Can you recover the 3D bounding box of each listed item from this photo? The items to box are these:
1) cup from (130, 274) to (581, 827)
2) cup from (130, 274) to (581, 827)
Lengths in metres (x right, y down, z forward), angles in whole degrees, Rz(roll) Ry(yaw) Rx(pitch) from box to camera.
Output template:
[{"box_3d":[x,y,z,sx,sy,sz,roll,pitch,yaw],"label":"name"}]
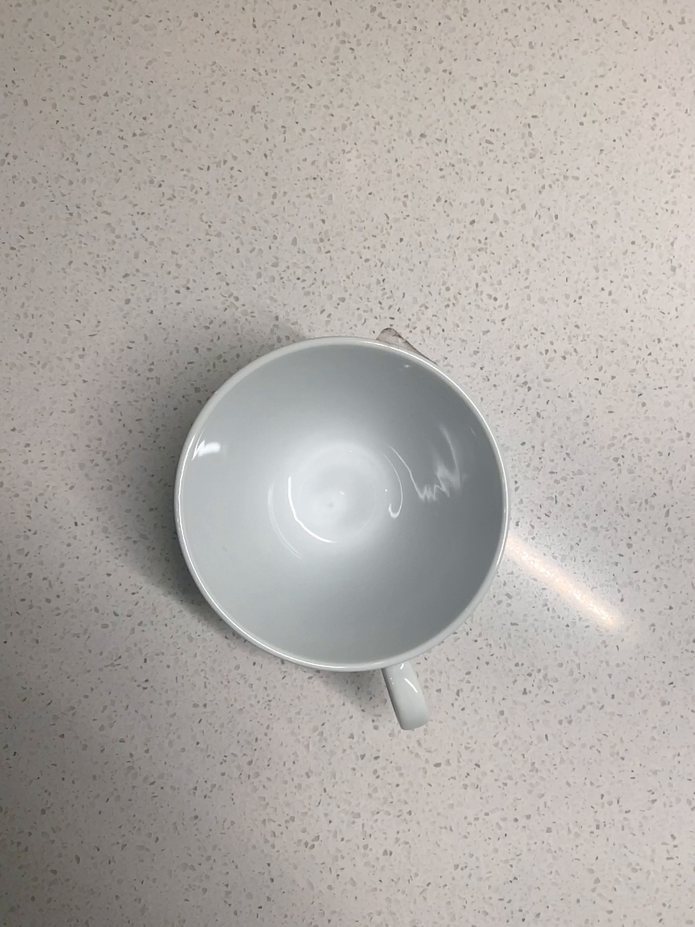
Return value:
[{"box_3d":[0.001,0.023,0.222,0.090,0.050,0.130,-16,89,-4],"label":"cup"},{"box_3d":[0.001,0.023,0.222,0.090,0.050,0.130,-16,89,-4],"label":"cup"}]
